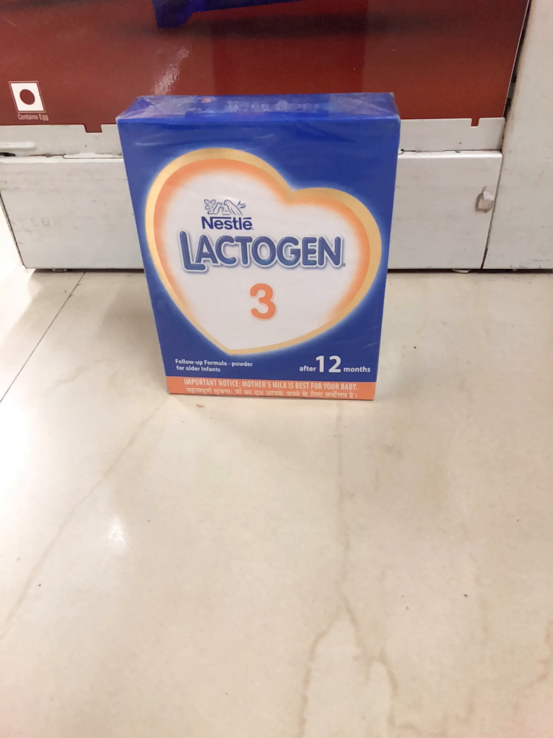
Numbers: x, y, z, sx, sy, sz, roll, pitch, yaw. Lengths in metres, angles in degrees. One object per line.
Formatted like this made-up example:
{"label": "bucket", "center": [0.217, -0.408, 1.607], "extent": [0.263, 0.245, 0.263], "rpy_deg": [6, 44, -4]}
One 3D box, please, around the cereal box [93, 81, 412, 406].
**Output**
{"label": "cereal box", "center": [-0.007, -0.071, 0.384], "extent": [0.160, 0.189, 0.060], "rpy_deg": [2, 38, 6]}
